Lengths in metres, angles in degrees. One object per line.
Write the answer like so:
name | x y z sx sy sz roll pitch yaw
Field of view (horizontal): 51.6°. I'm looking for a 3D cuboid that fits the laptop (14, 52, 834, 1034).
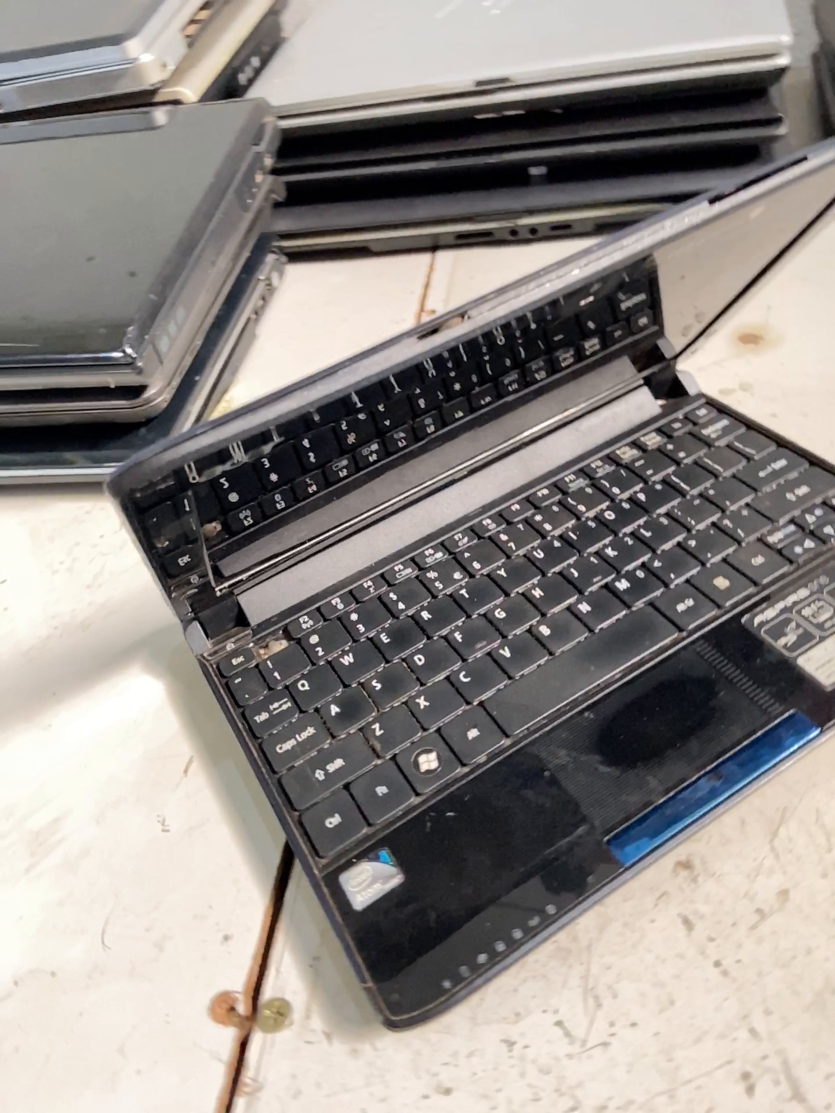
laptop | 0.043 -0.032 0.261 0.244 0.131 0.172 -28 45 -16
